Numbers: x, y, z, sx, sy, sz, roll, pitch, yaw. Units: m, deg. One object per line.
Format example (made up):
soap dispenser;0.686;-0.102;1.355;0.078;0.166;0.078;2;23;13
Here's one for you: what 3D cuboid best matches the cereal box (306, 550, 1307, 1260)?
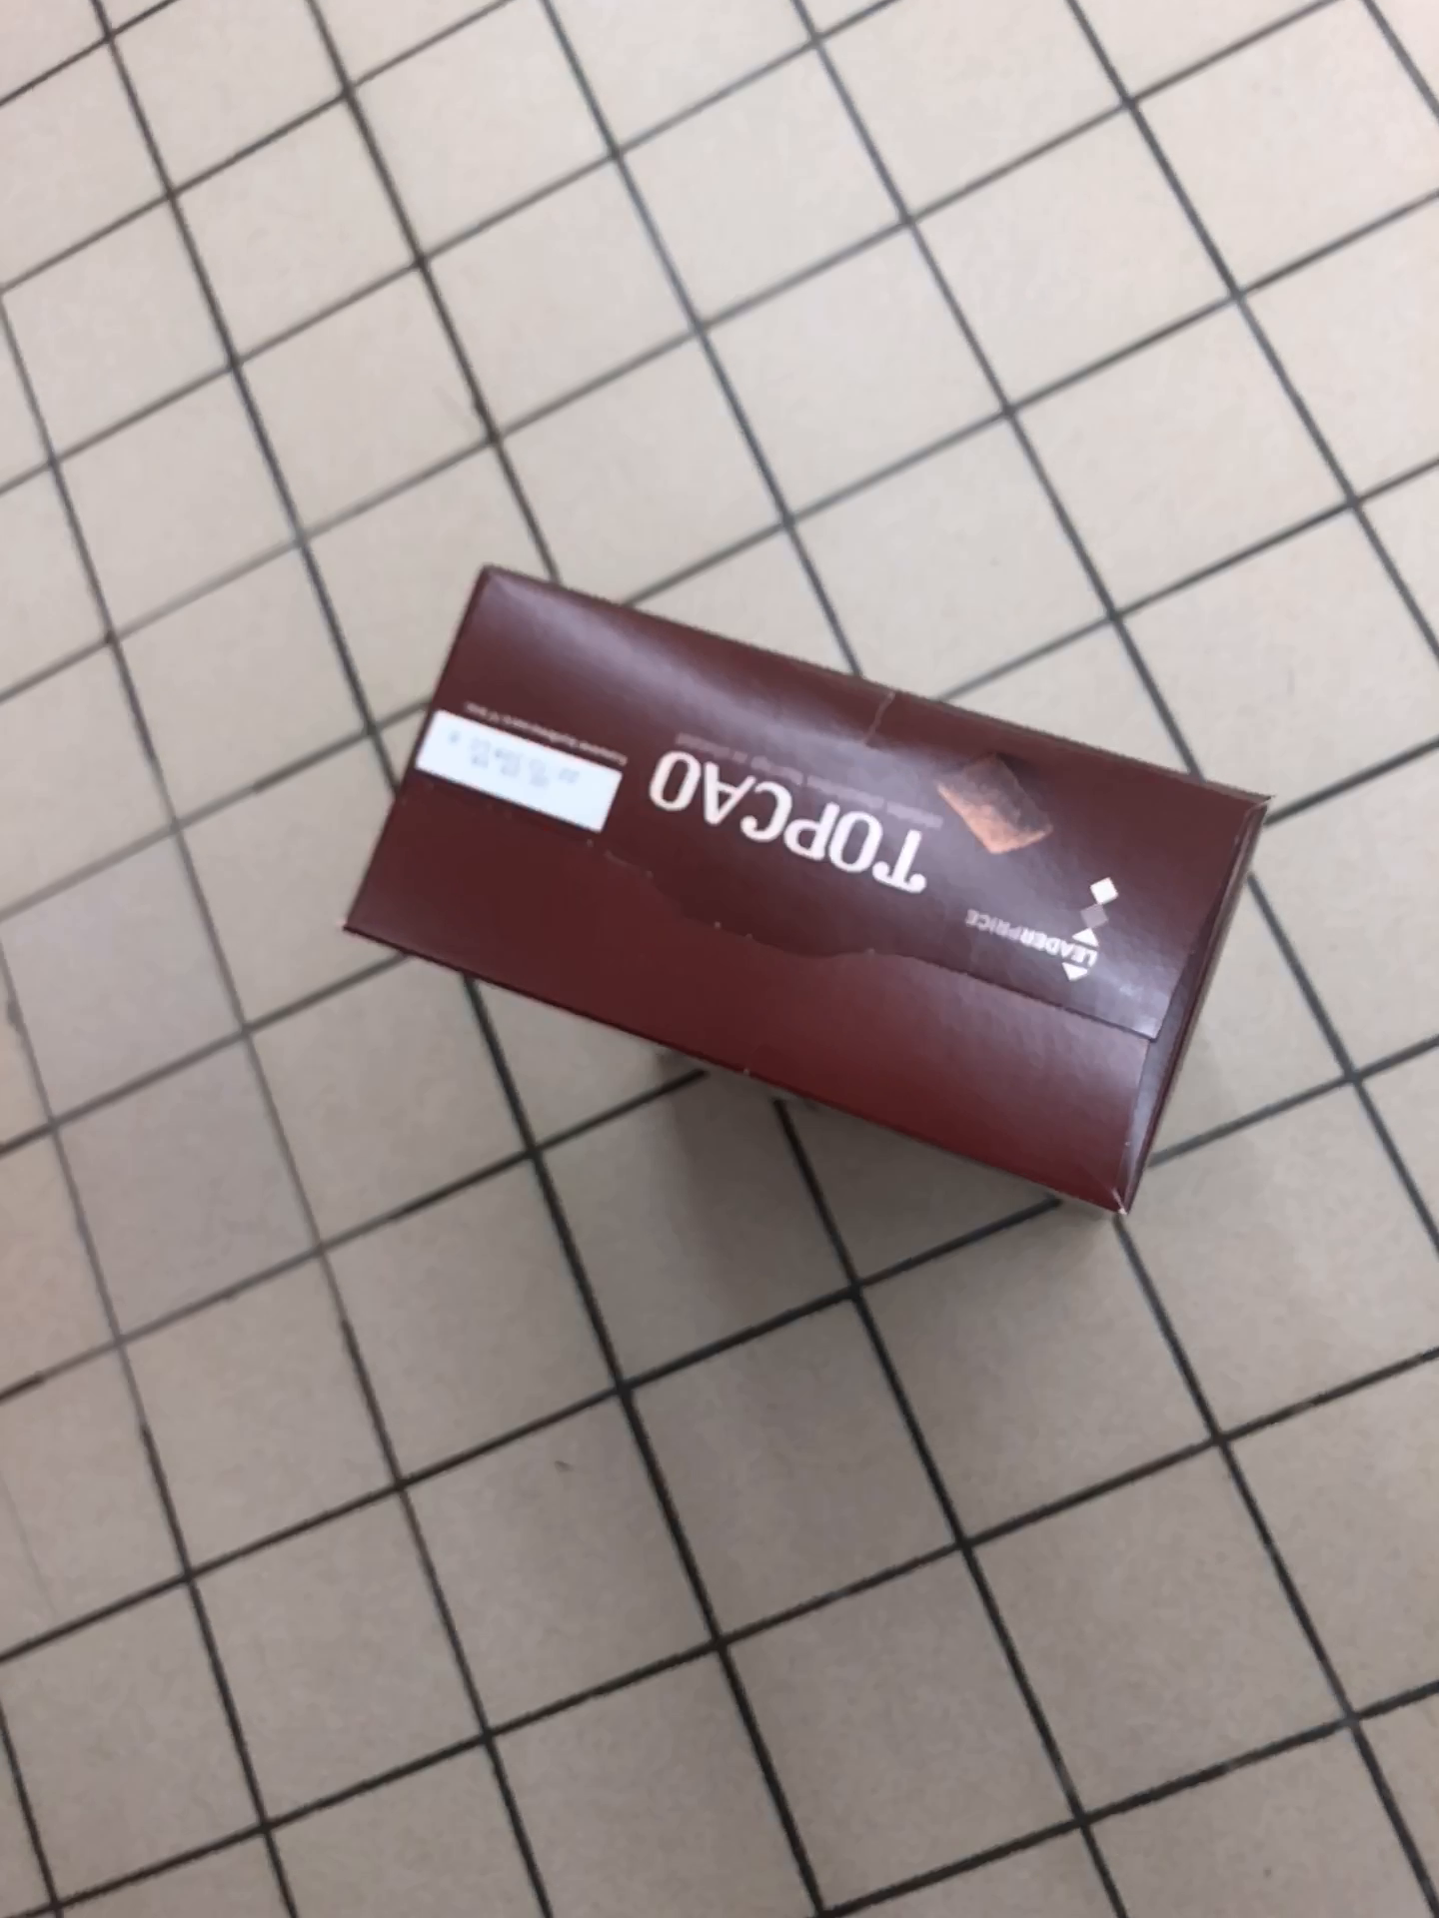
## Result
cereal box;0.043;0.002;0.493;0.200;0.290;0.100;19;87;14
